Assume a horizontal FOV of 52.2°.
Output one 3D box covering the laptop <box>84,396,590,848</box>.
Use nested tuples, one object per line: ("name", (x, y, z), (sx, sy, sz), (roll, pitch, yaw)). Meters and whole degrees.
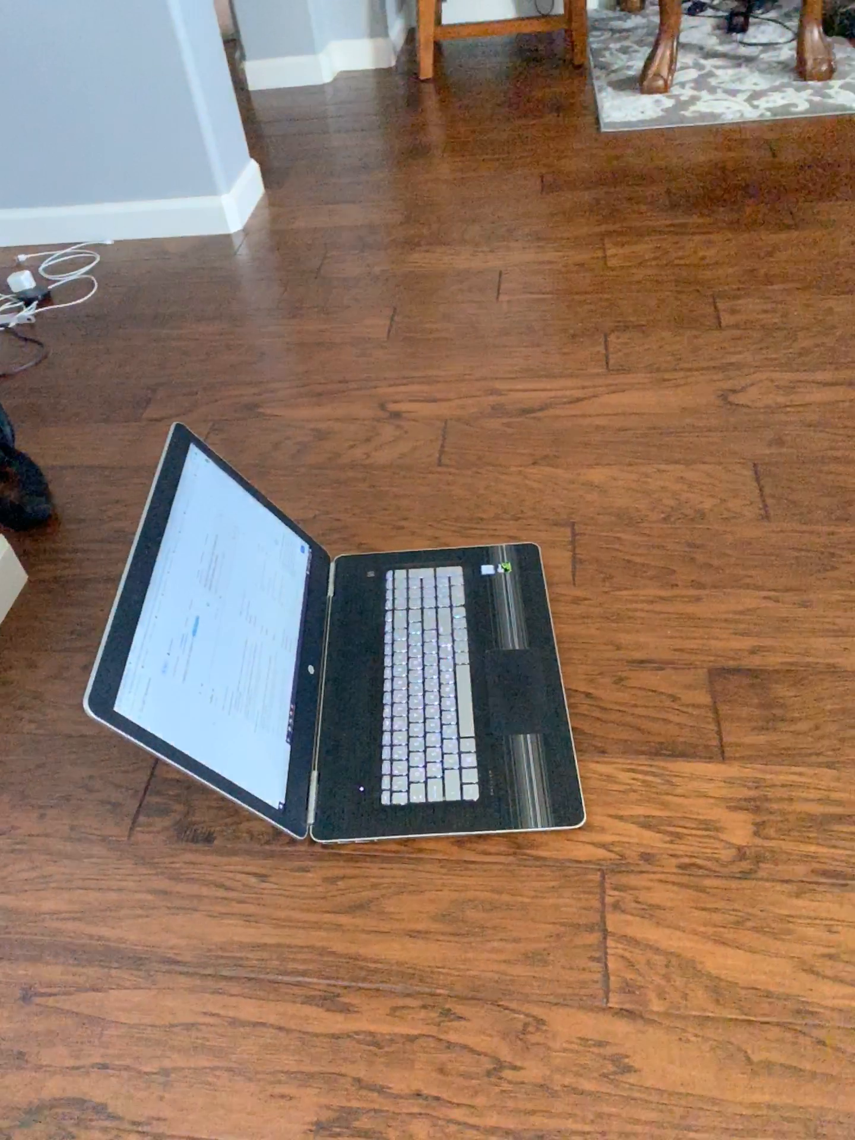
("laptop", (-0.071, 0.040, 0.954), (0.421, 0.233, 0.413), (-4, 44, 1))
